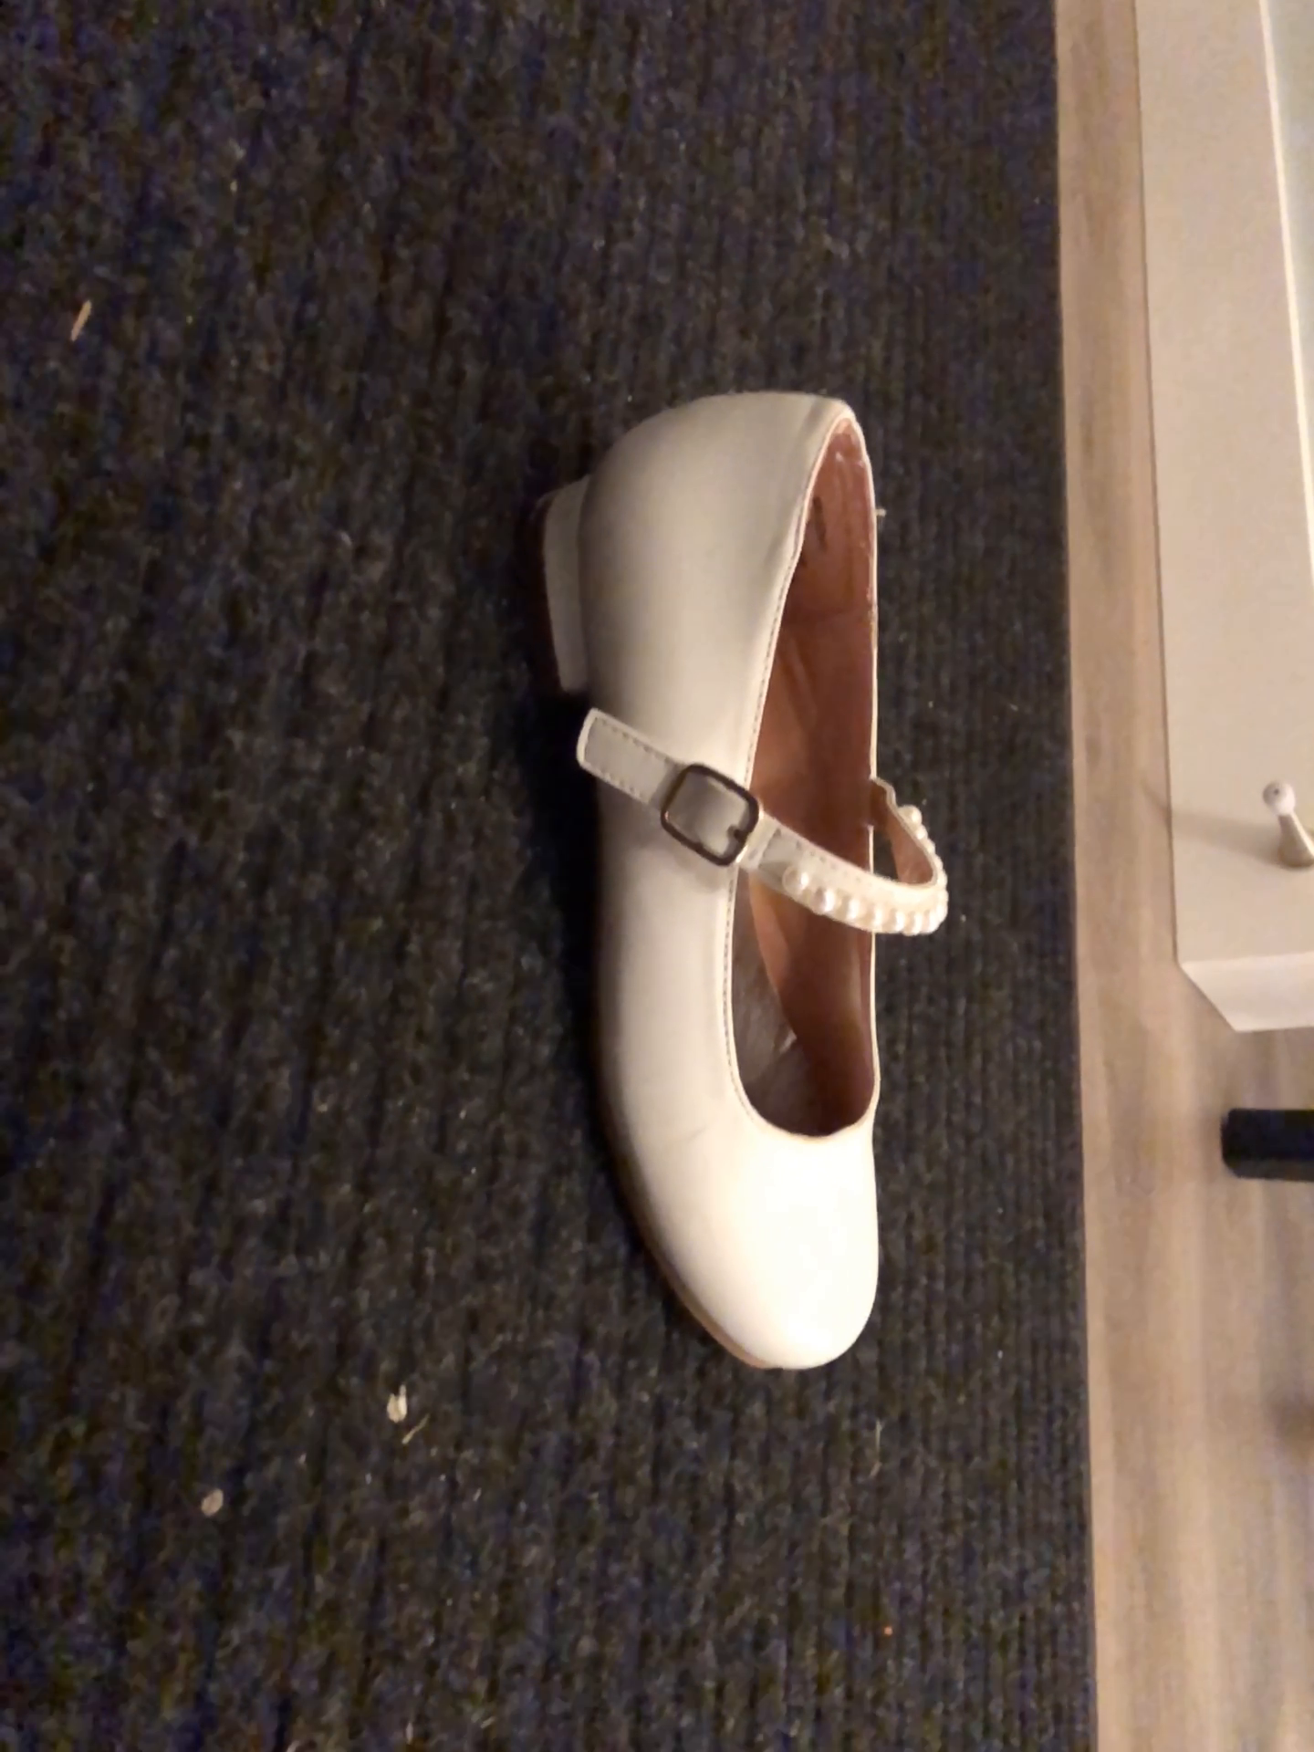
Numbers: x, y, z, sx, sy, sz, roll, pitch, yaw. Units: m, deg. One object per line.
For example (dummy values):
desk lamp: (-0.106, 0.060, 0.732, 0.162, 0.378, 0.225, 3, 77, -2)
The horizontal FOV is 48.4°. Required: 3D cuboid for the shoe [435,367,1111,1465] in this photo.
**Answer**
shoe: (0.030, 0.009, 0.314, 0.080, 0.080, 0.200, -19, 98, -59)
